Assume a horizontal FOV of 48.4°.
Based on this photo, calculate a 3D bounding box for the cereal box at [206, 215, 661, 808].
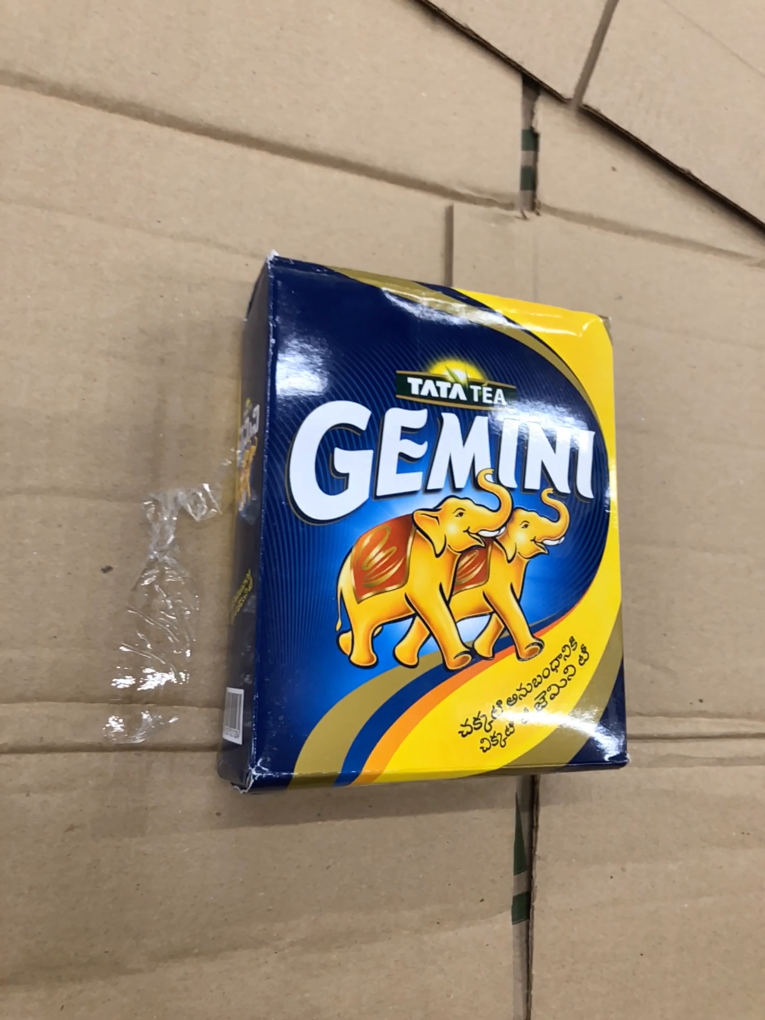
[{"bbox_3d":[0.019,0.004,0.289,0.141,0.050,0.170,4,81,-21],"label":"cereal box"}]
